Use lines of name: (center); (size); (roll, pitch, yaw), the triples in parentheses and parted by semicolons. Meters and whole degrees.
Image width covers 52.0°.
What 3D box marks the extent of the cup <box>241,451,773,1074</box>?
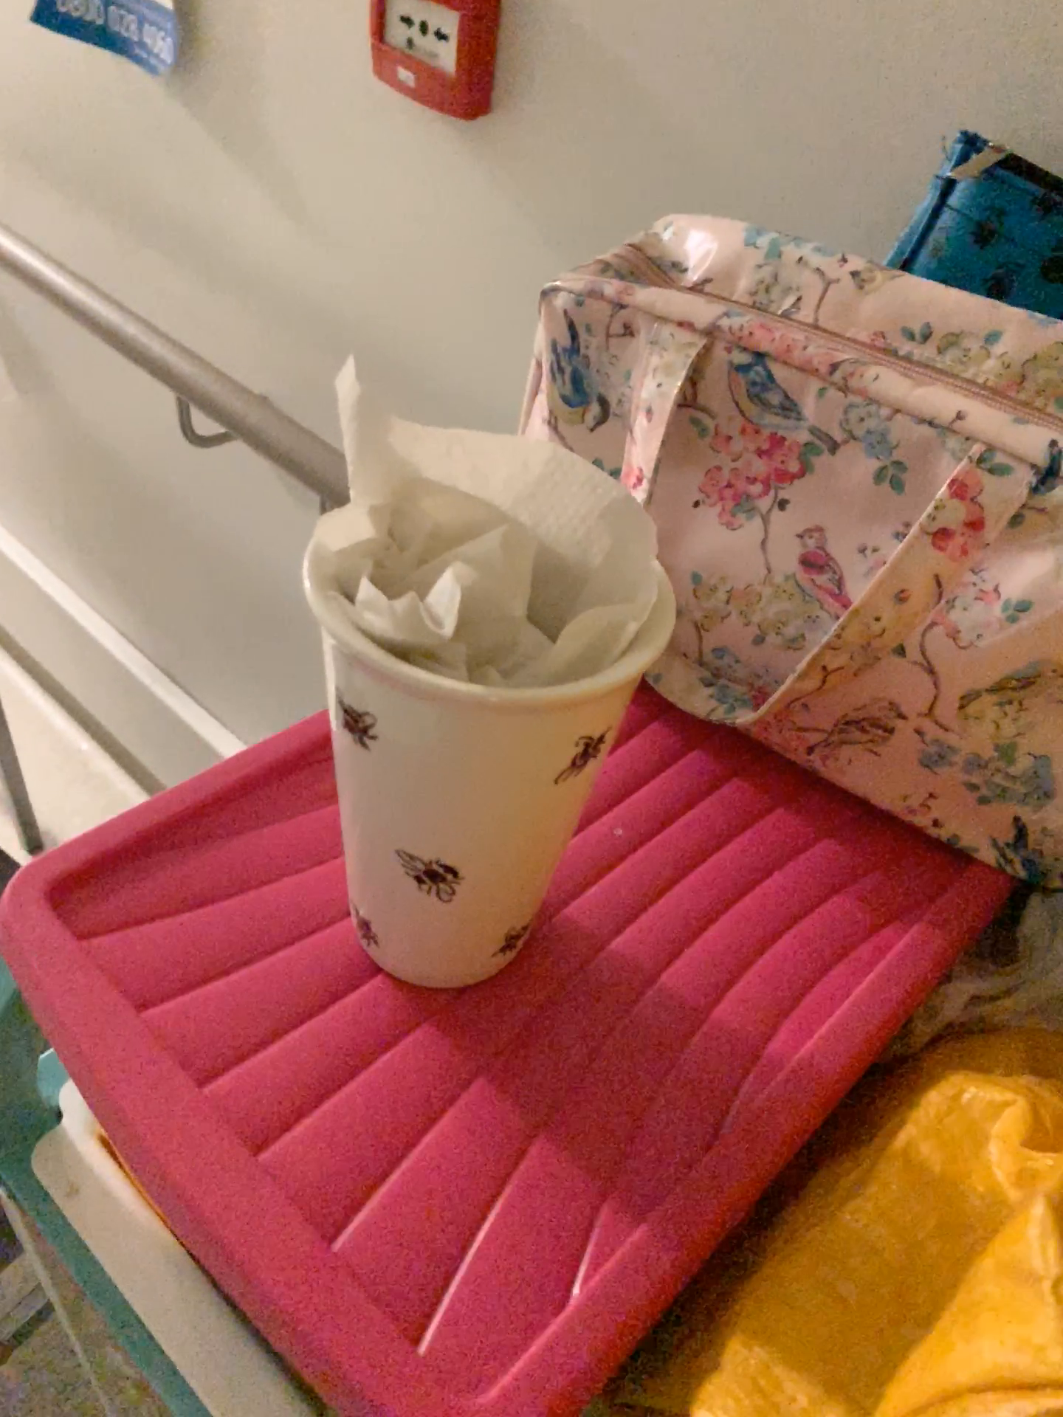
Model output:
cup: (-0.011, 0.011, 0.304); (0.090, 0.112, 0.099); (7, 41, -6)
